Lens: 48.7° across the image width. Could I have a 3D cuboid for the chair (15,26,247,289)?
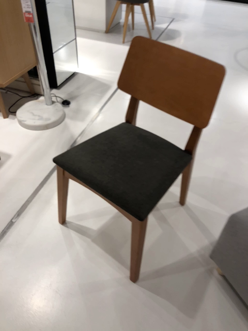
[{"bbox_3d":[0.037,-0.043,1.176,0.531,0.804,0.583,31,50,27],"label":"chair"}]
